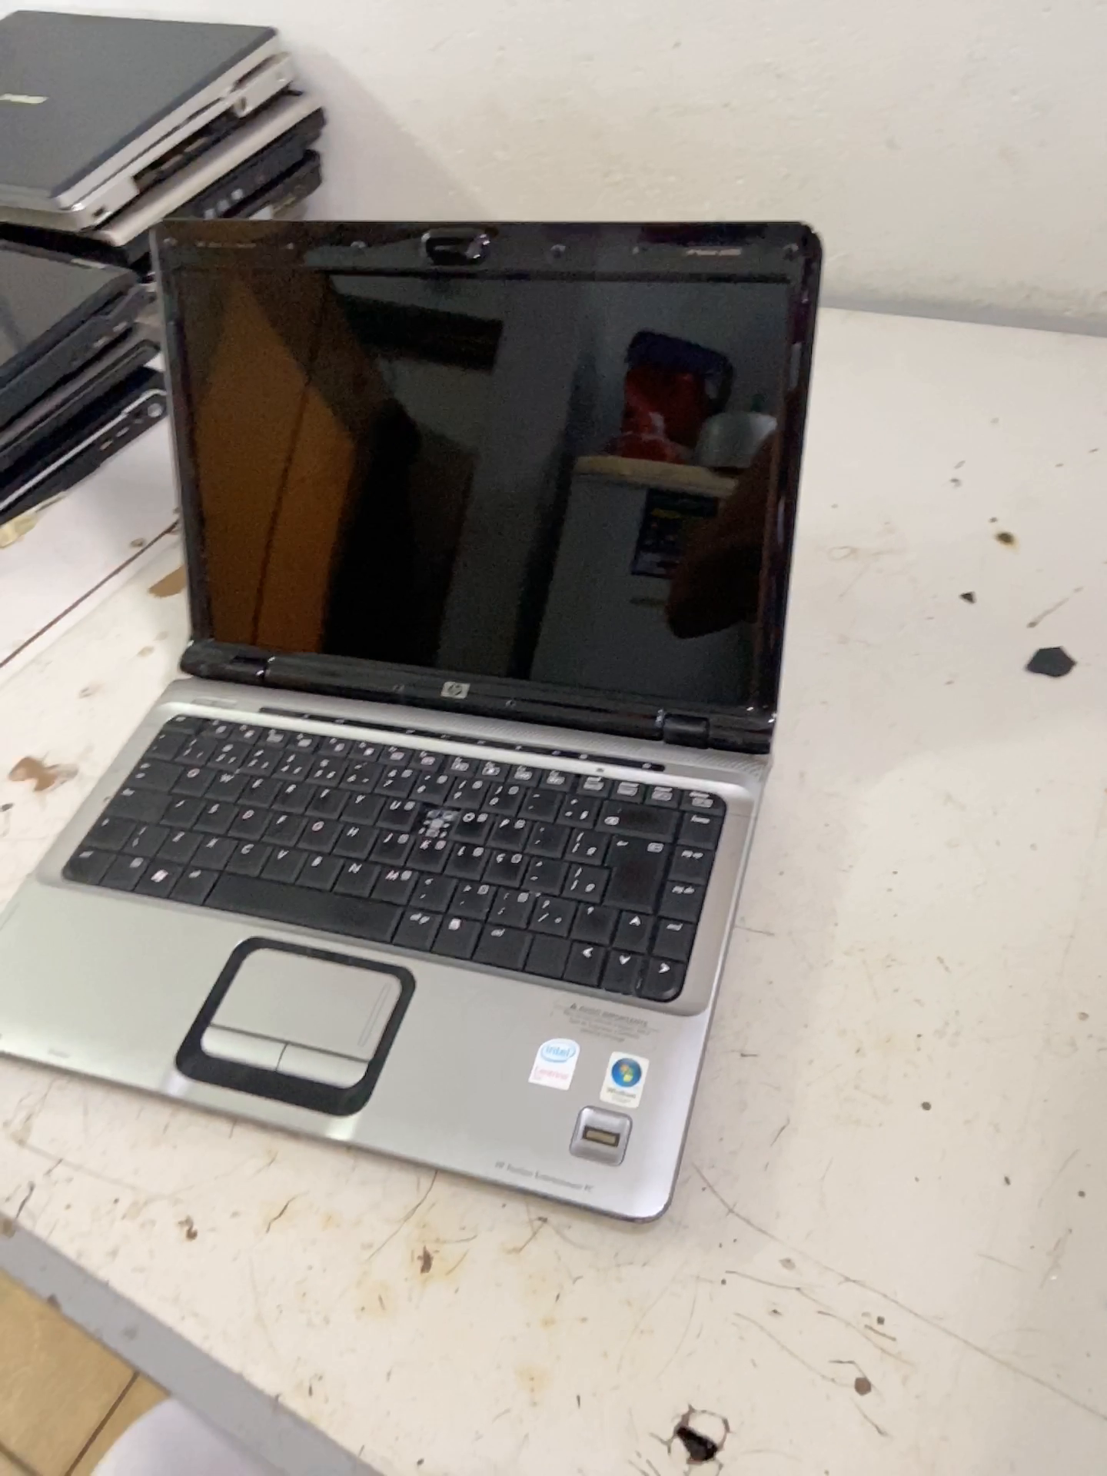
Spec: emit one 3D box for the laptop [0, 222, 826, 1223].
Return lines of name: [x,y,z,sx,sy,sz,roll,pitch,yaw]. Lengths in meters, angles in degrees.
laptop: [-0.077,-0.042,0.476,0.321,0.193,0.335,8,50,17]
